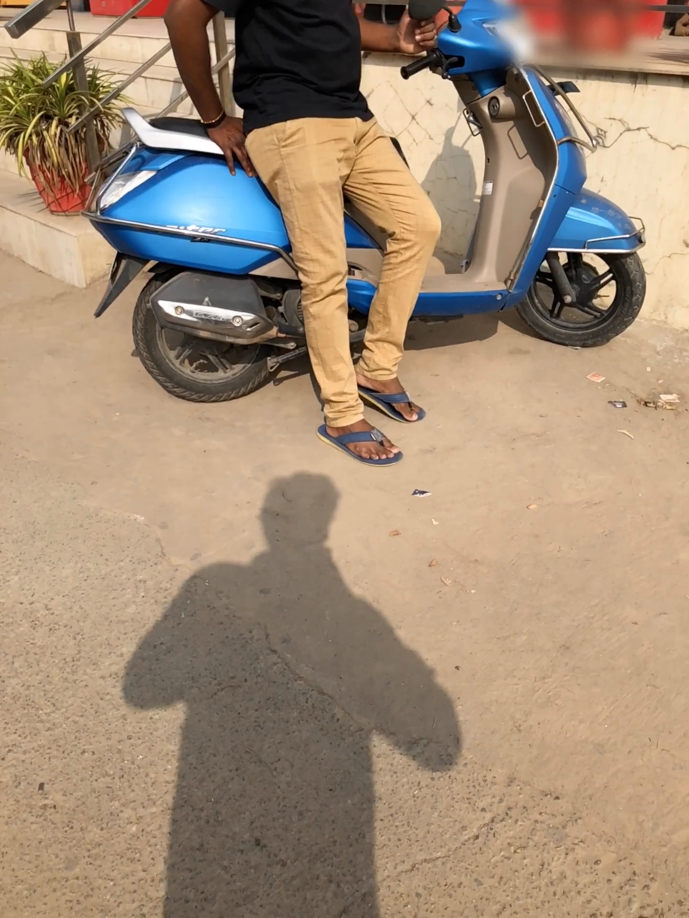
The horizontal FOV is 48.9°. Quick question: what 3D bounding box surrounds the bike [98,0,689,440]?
[{"bbox_3d":[0.175,-0.738,2.215,1.569,1.021,0.597,-7,32,-7],"label":"bike"}]
